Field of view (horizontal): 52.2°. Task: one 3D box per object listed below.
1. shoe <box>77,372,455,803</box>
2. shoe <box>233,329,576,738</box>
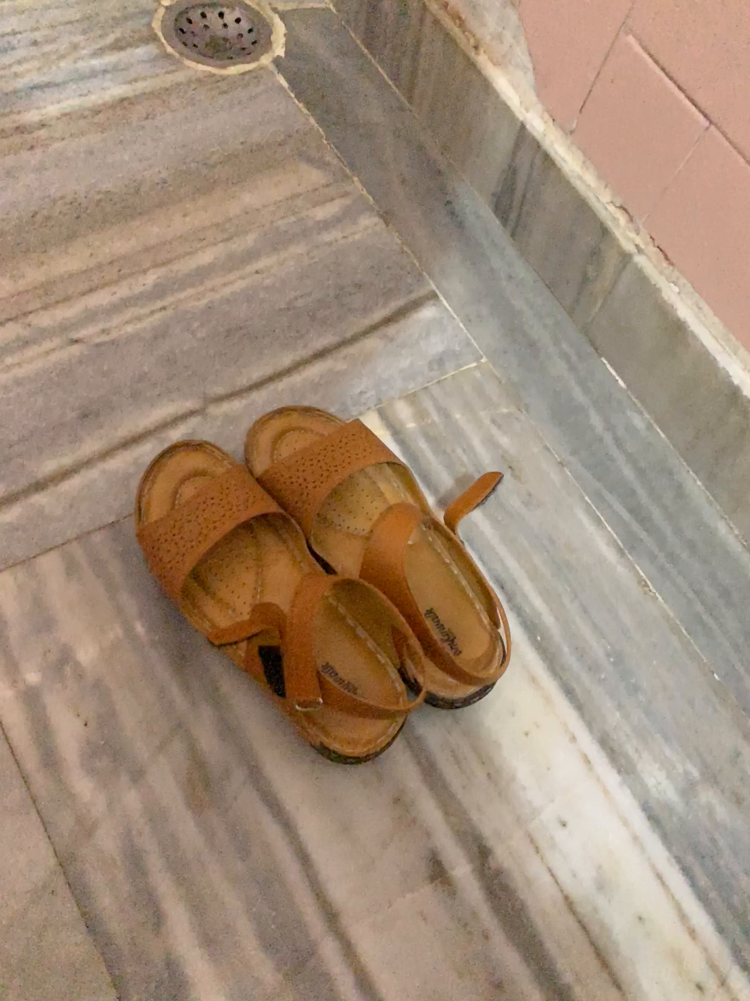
[{"bbox_3d":[-0.076,0.057,0.498,0.090,0.100,0.256,-34,76,-22],"label":"shoe"},{"bbox_3d":[0.007,0.022,0.525,0.090,0.100,0.250,-30,75,-21],"label":"shoe"}]
